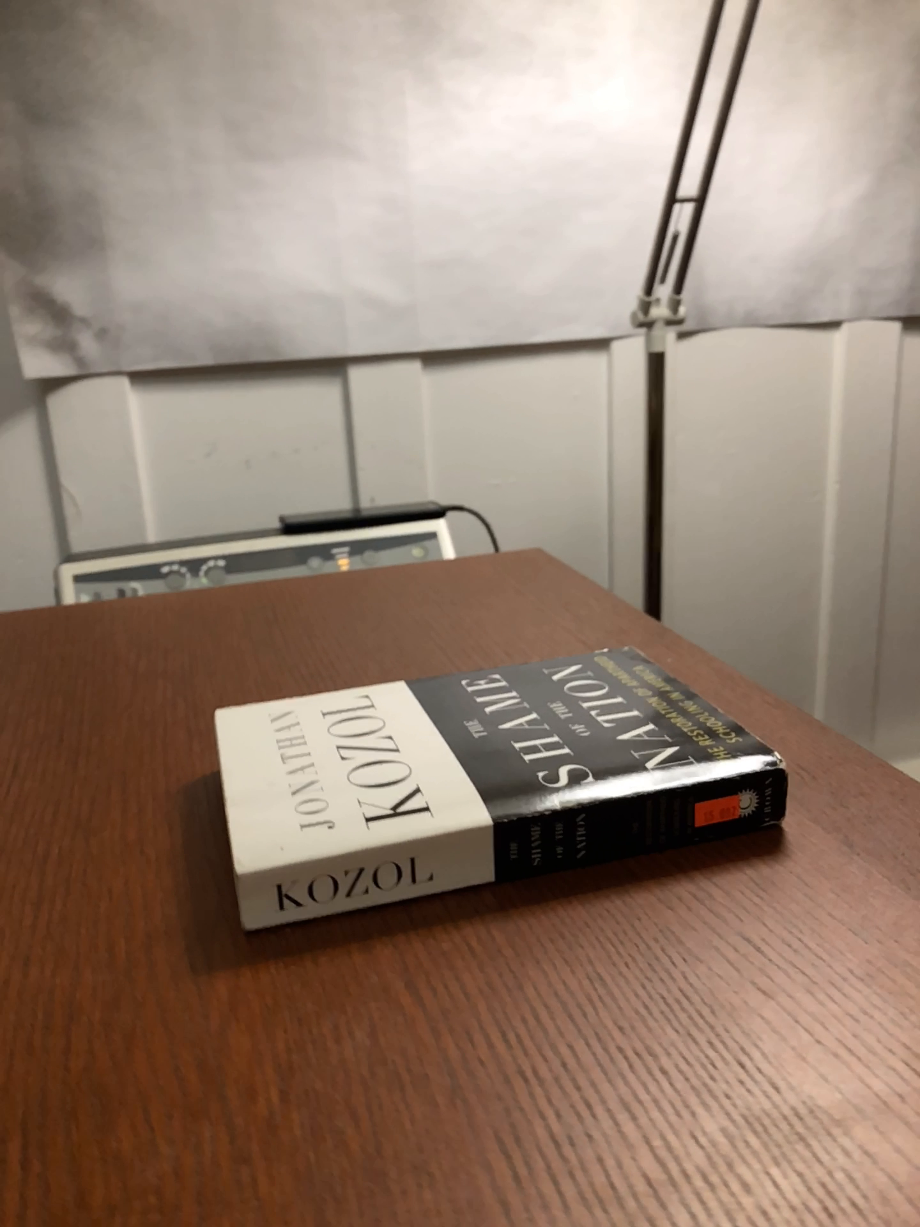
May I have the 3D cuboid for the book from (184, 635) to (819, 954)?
[{"bbox_3d":[0.004,0.062,0.435,0.230,0.030,0.161,-7,18,-14],"label":"book"}]
